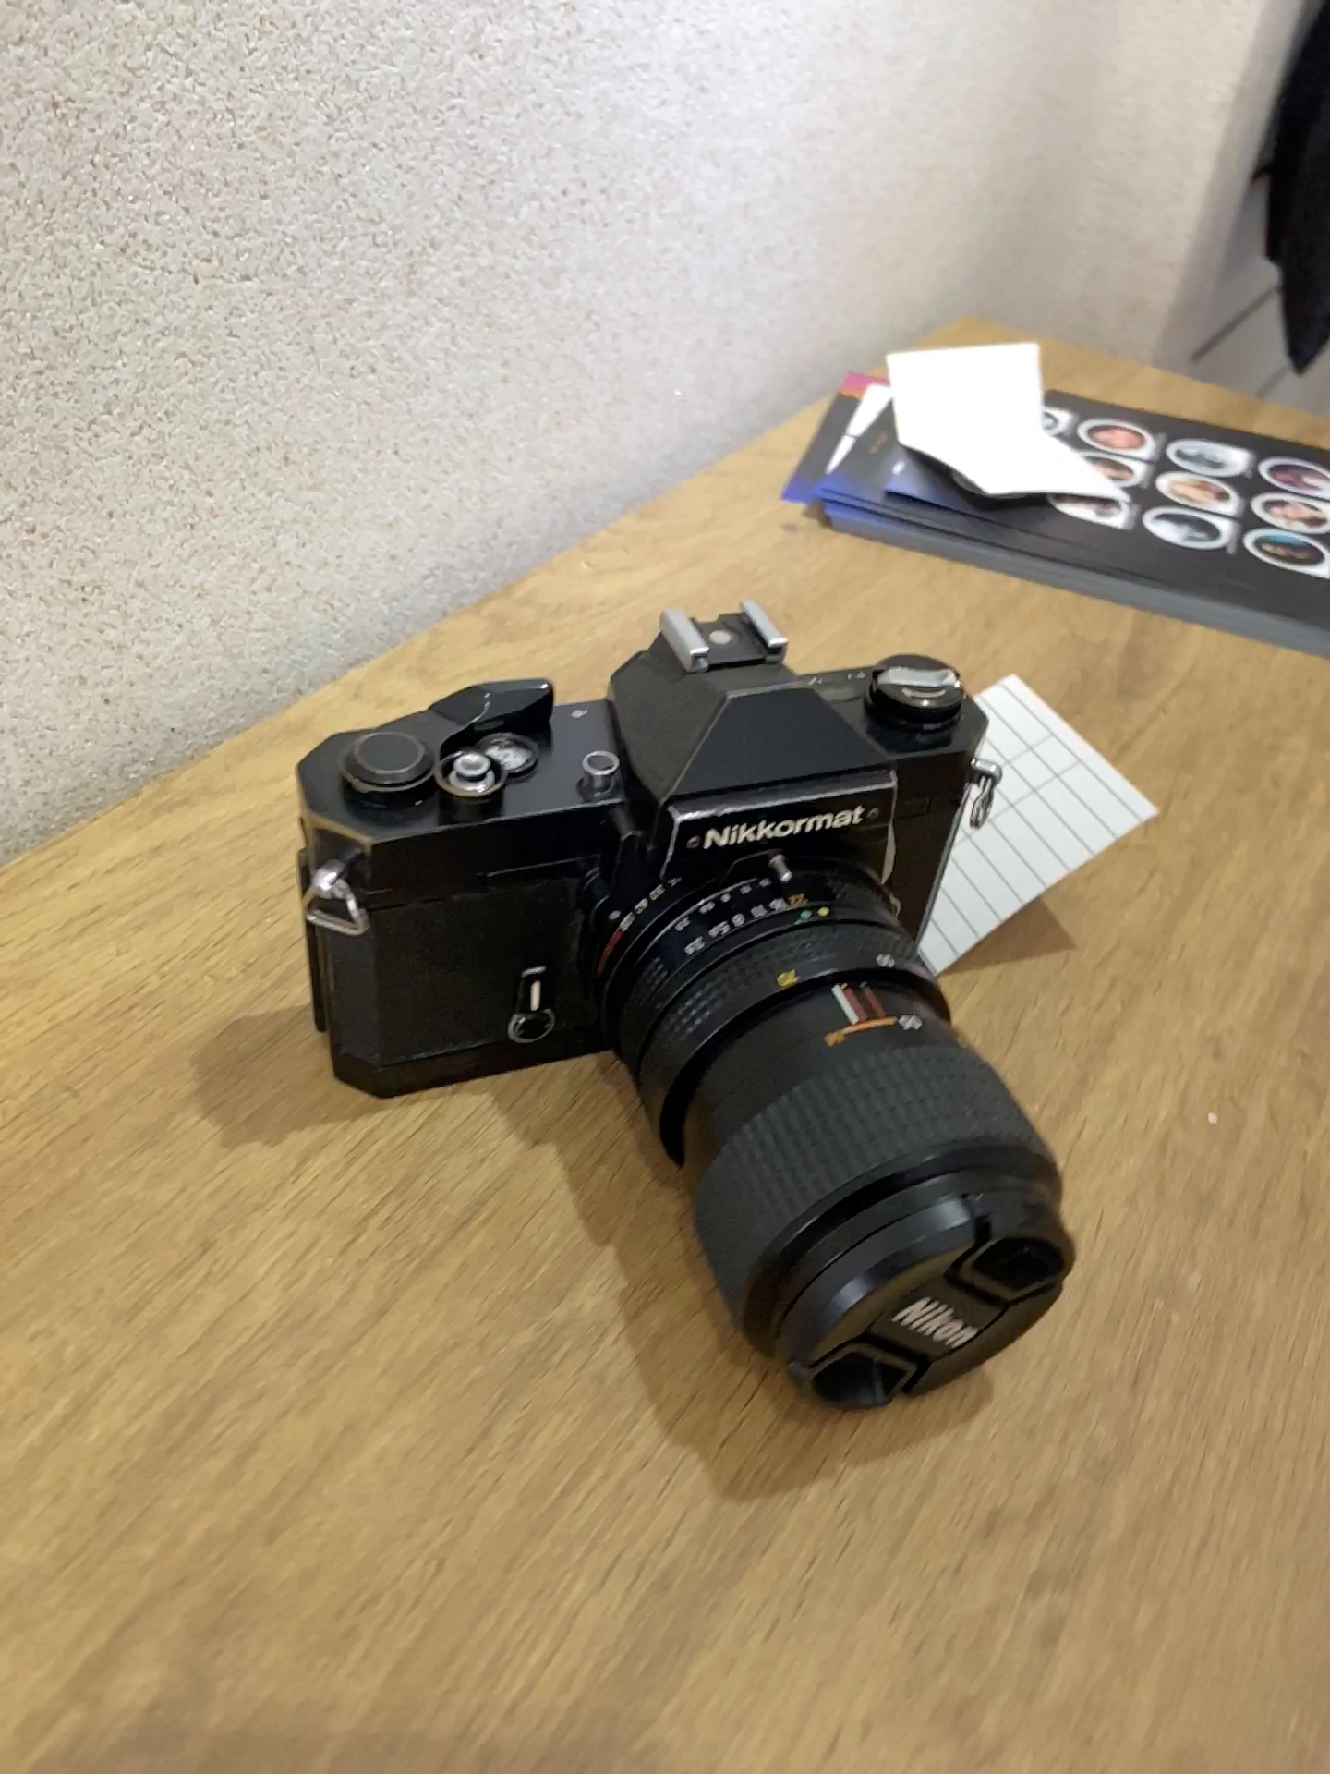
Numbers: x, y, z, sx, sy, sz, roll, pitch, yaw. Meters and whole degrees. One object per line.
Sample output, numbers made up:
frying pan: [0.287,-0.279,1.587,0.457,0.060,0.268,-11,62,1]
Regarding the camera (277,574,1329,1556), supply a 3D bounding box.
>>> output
camera: [0.018,0.019,0.268,0.160,0.089,0.141,-8,42,-16]
